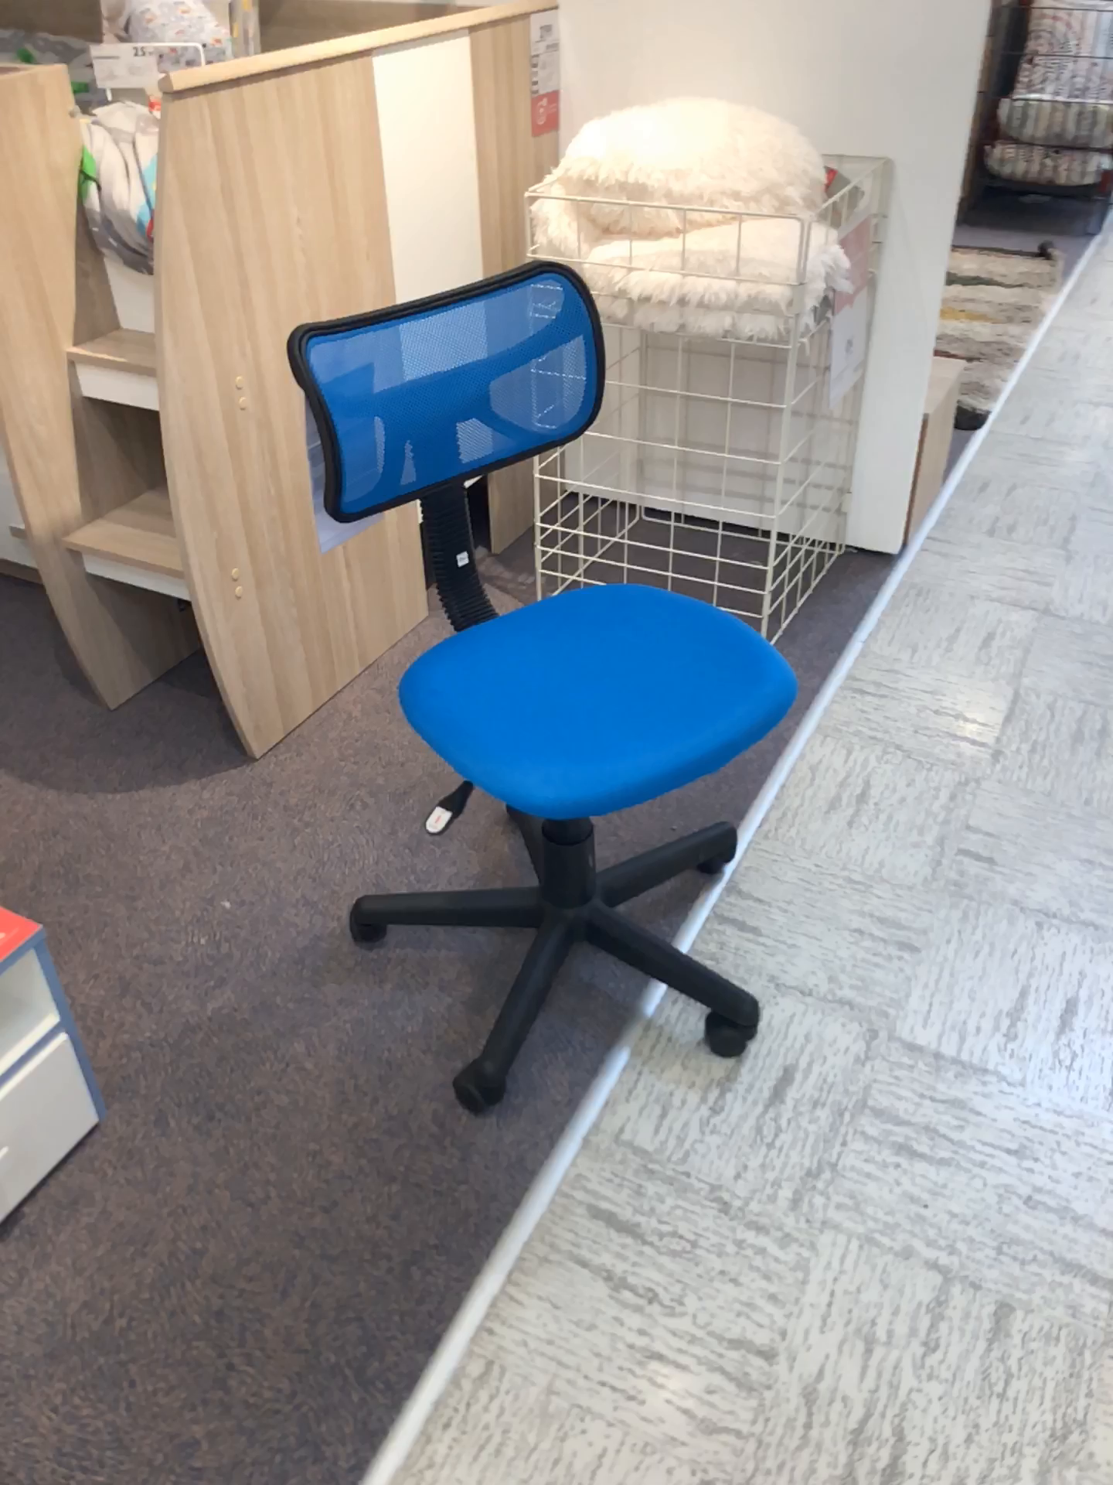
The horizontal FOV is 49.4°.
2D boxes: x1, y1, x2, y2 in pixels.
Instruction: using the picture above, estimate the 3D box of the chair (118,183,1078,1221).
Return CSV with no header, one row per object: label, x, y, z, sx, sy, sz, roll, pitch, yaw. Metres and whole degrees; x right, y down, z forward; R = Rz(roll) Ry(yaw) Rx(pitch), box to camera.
chair,0.052,-0.103,1.361,0.611,0.795,0.663,29,46,35
